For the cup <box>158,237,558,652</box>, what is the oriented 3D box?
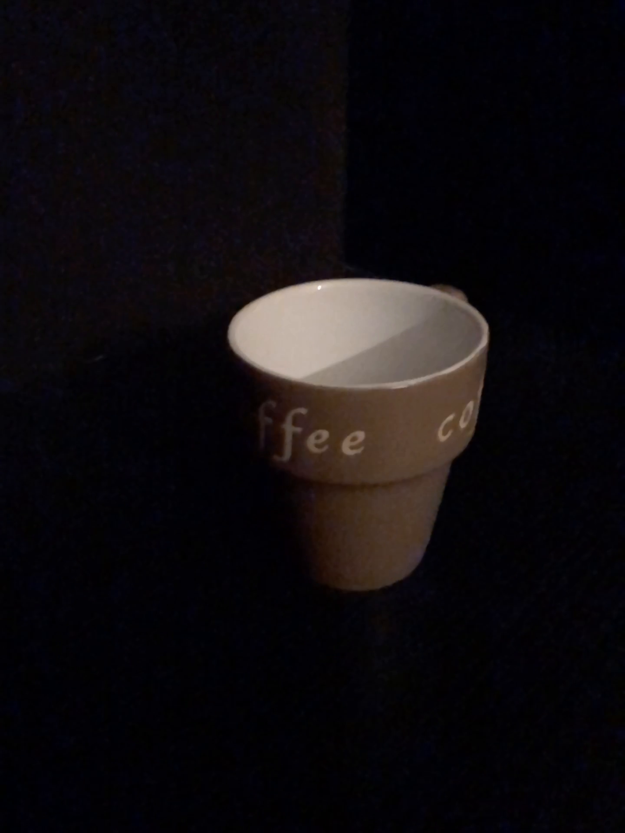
[{"bbox_3d":[0.019,-0.001,0.241,0.080,0.082,0.108,22,39,31],"label":"cup"}]
